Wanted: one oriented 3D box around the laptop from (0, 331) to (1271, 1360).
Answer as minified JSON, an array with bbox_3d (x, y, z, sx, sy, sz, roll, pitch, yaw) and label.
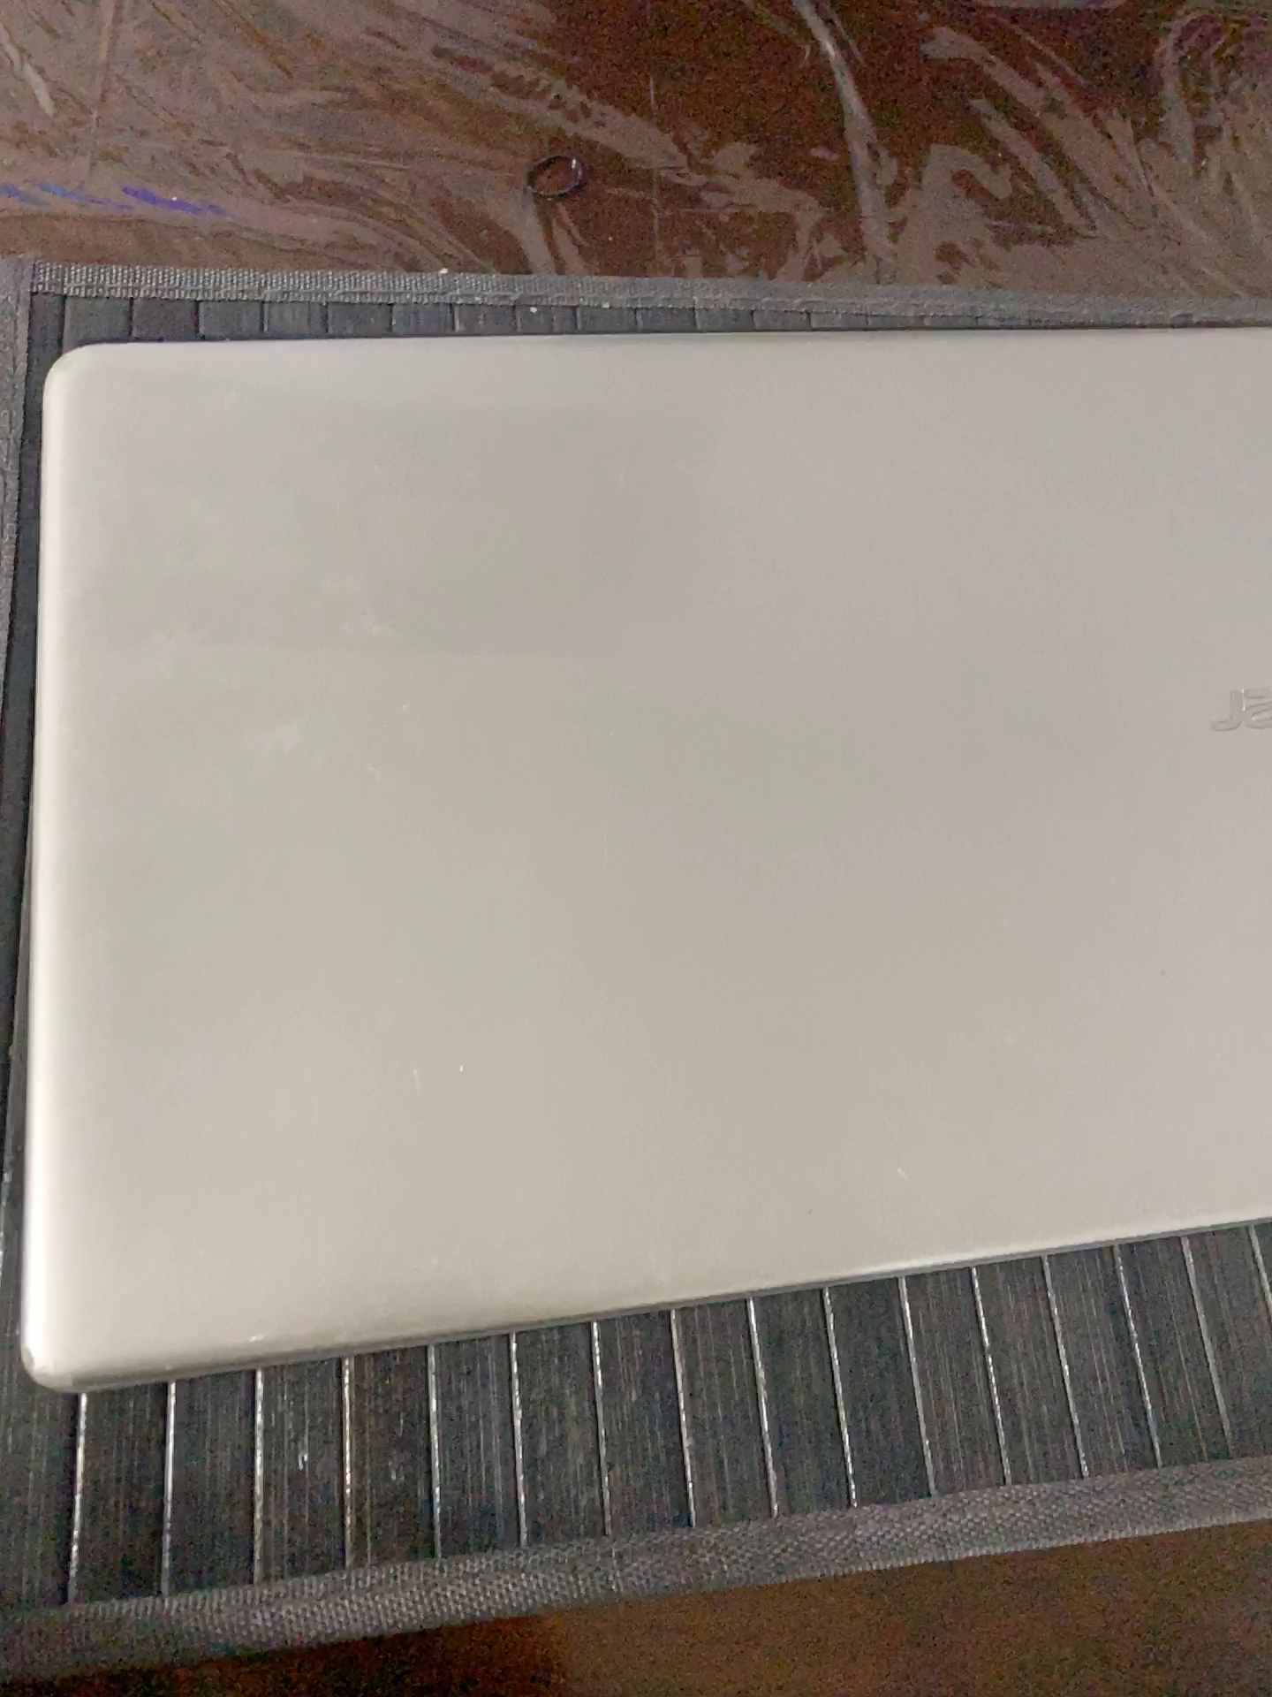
[{"bbox_3d":[0.034,-0.026,0.300,0.335,0.002,0.223,-4,71,-11],"label":"laptop"}]
